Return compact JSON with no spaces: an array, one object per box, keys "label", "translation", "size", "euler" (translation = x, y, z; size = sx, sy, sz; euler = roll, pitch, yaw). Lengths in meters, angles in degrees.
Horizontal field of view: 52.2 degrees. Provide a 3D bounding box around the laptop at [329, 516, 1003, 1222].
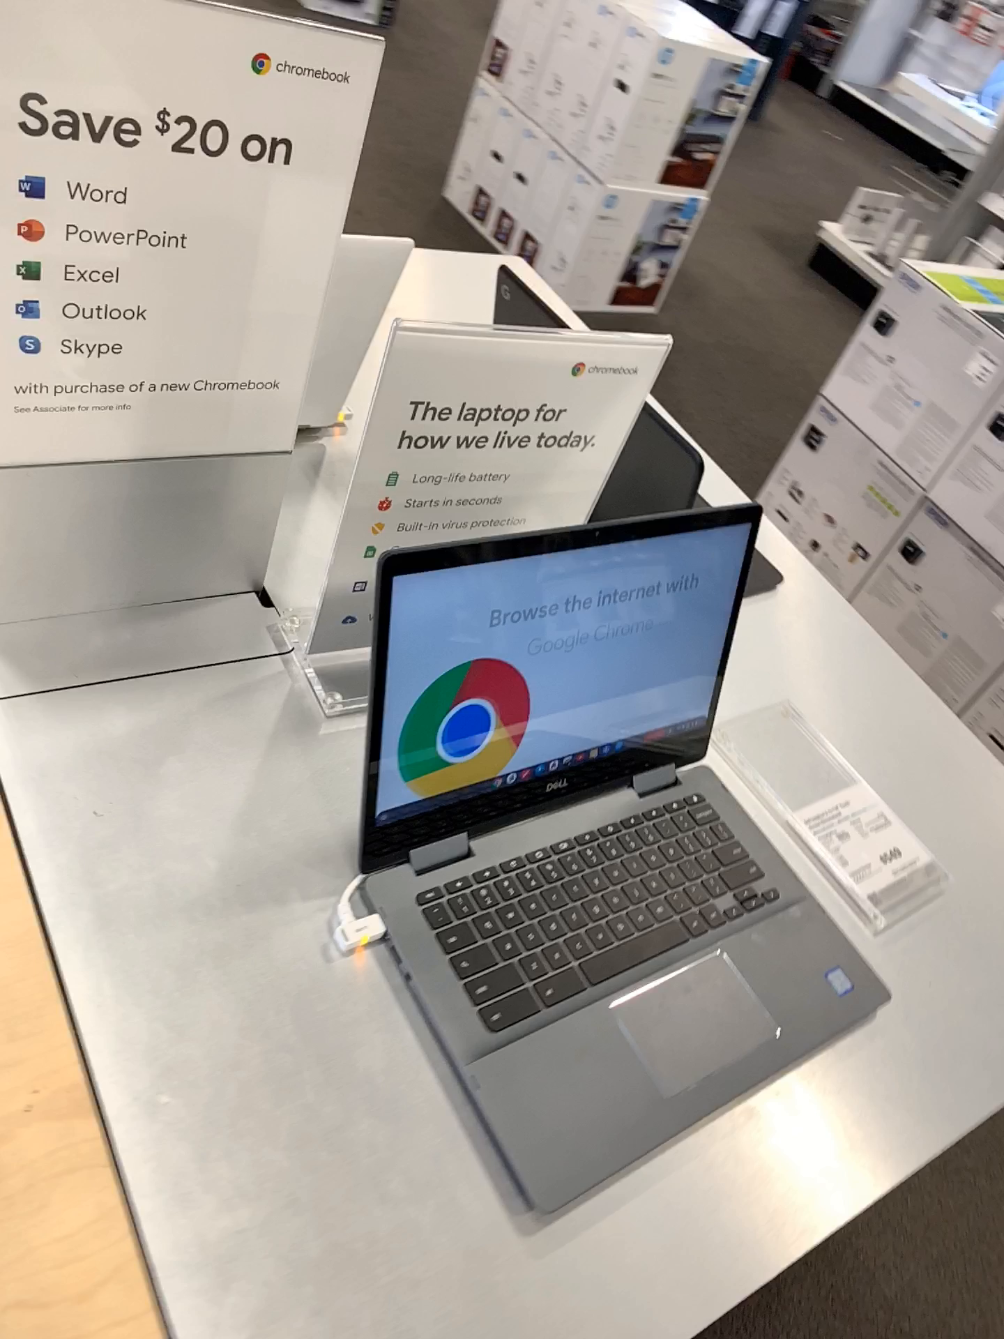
[{"label":"laptop","translation":[0.113,0.092,0.644],"size":[0.310,0.202,0.293],"euler":[-13,53,-34]}]
